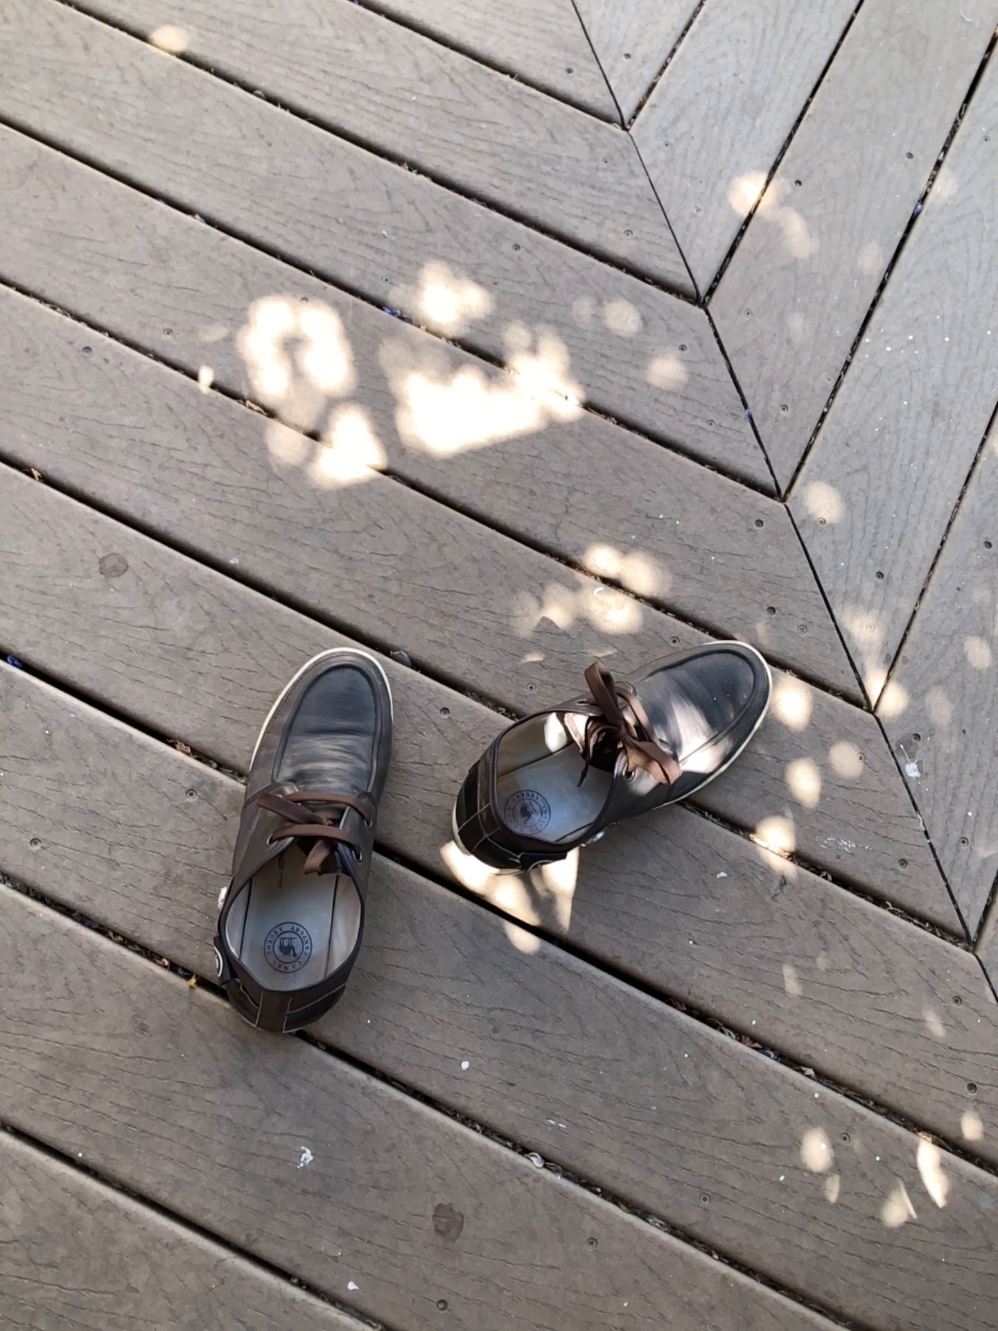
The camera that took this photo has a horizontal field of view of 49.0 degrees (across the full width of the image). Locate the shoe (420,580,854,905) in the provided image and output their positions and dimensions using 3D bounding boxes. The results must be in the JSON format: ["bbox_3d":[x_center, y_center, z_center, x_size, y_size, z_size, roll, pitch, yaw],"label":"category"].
[{"bbox_3d":[0.101,0.062,0.853,0.304,0.116,0.110,-25,77,-12],"label":"shoe"}]

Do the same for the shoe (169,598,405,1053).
[{"bbox_3d":[-0.146,0.118,0.811,0.110,0.116,0.302,8,72,-3],"label":"shoe"}]
